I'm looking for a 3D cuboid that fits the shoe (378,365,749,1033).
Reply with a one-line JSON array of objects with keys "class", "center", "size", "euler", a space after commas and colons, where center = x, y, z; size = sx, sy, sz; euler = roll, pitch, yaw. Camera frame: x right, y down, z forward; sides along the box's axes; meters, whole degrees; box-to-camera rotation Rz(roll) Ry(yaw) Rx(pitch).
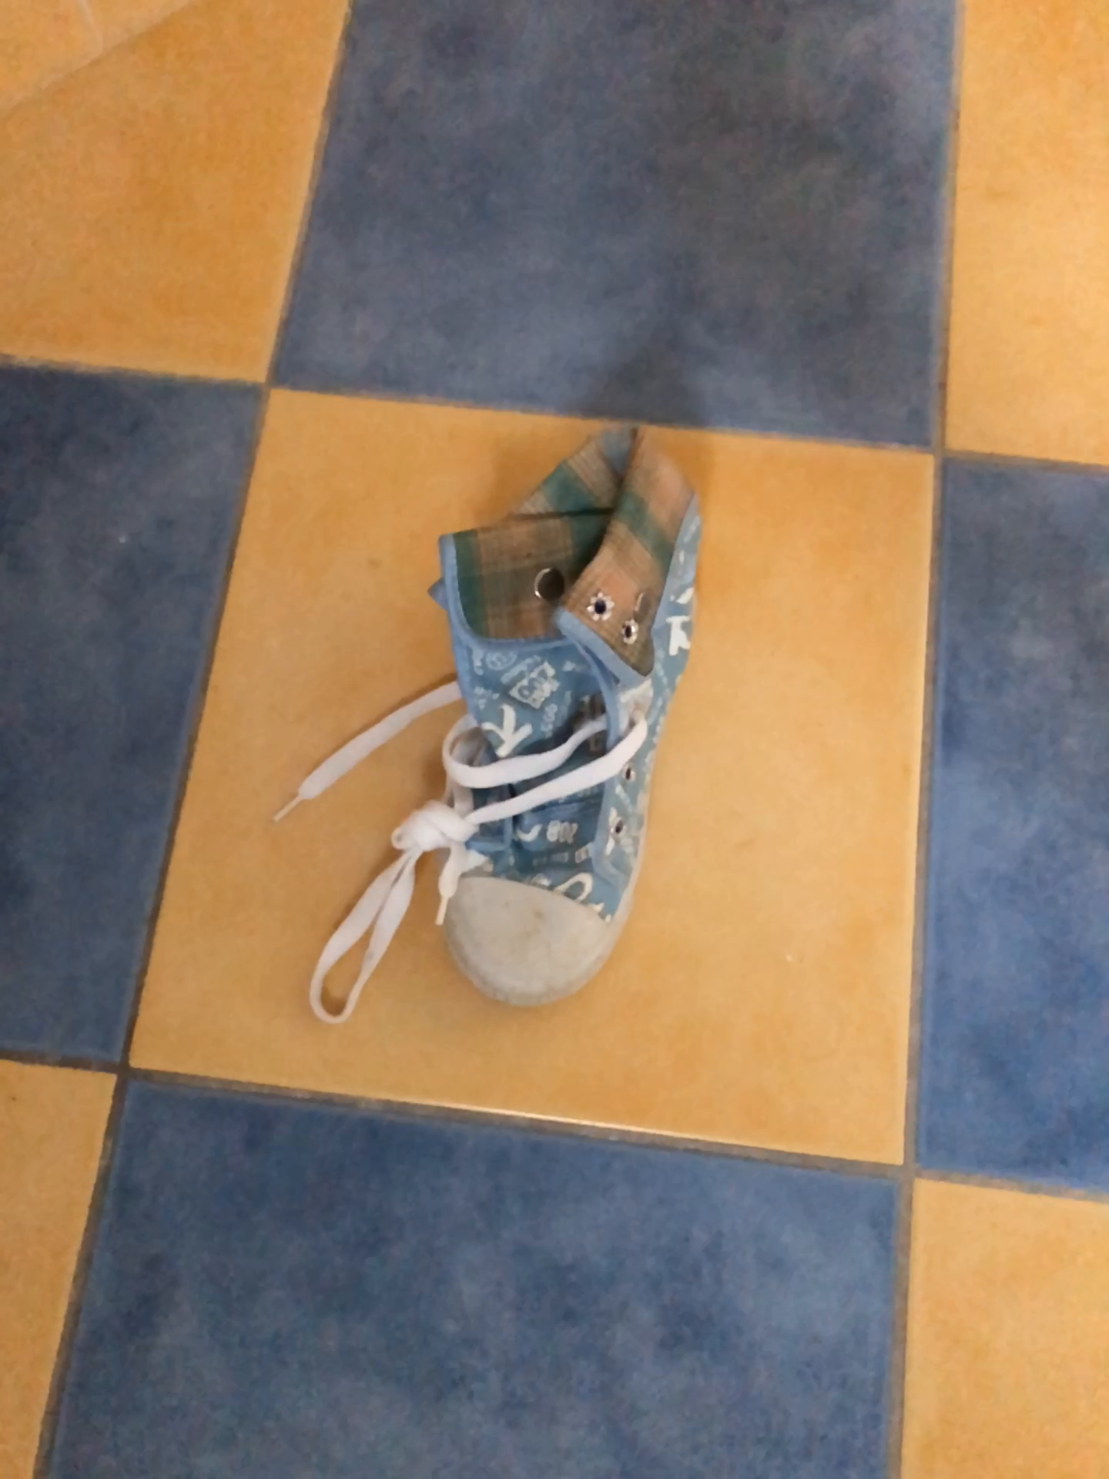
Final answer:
[{"class": "shoe", "center": [0.008, -0.007, 0.435], "size": [0.080, 0.120, 0.200], "euler": [10, 74, 4]}]
